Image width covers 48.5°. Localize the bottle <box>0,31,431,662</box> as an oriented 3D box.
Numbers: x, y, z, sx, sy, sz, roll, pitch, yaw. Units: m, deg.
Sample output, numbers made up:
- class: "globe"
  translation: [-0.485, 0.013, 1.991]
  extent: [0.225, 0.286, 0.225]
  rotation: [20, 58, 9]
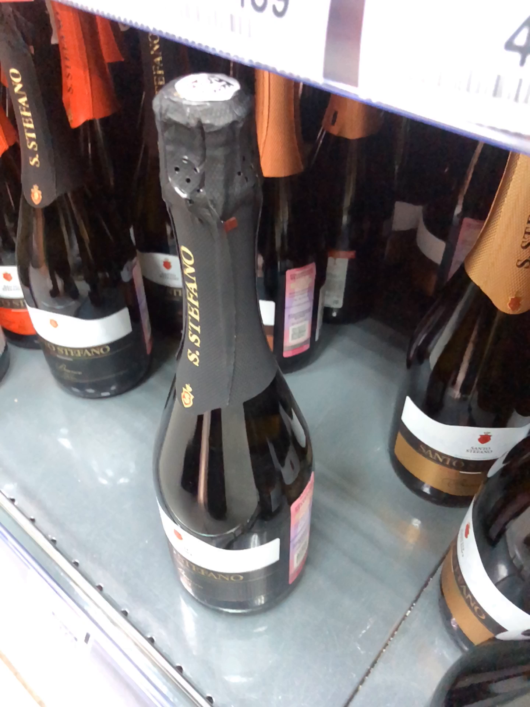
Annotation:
- class: "bottle"
  translation: [-0.015, 0.024, 0.282]
  extent: [0.100, 0.288, 0.090]
  rotation: [29, 50, 27]
